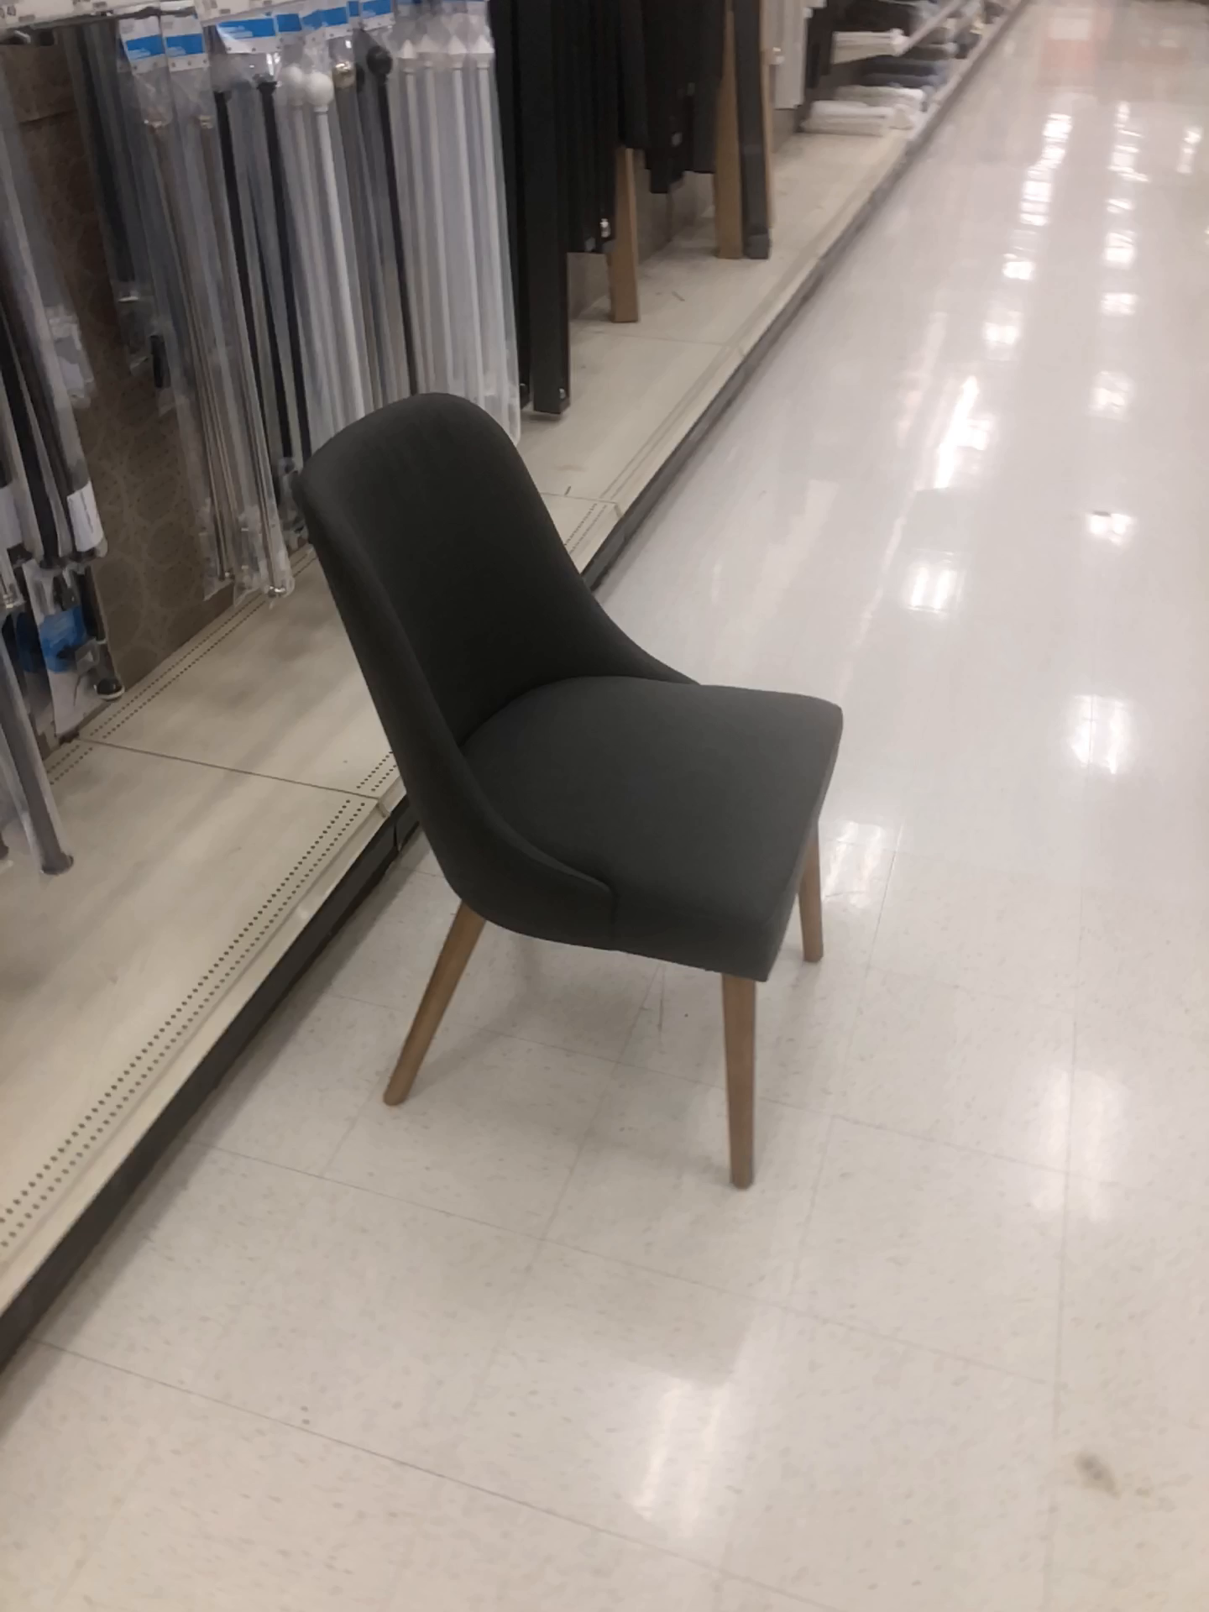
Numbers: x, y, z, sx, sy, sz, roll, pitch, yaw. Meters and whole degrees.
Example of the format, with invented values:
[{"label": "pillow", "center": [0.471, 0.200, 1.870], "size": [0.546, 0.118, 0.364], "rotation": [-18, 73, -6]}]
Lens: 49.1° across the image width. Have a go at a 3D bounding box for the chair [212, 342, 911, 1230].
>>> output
[{"label": "chair", "center": [-0.007, -0.032, 1.619], "size": [0.586, 0.859, 0.516], "rotation": [10, 37, 15]}]
